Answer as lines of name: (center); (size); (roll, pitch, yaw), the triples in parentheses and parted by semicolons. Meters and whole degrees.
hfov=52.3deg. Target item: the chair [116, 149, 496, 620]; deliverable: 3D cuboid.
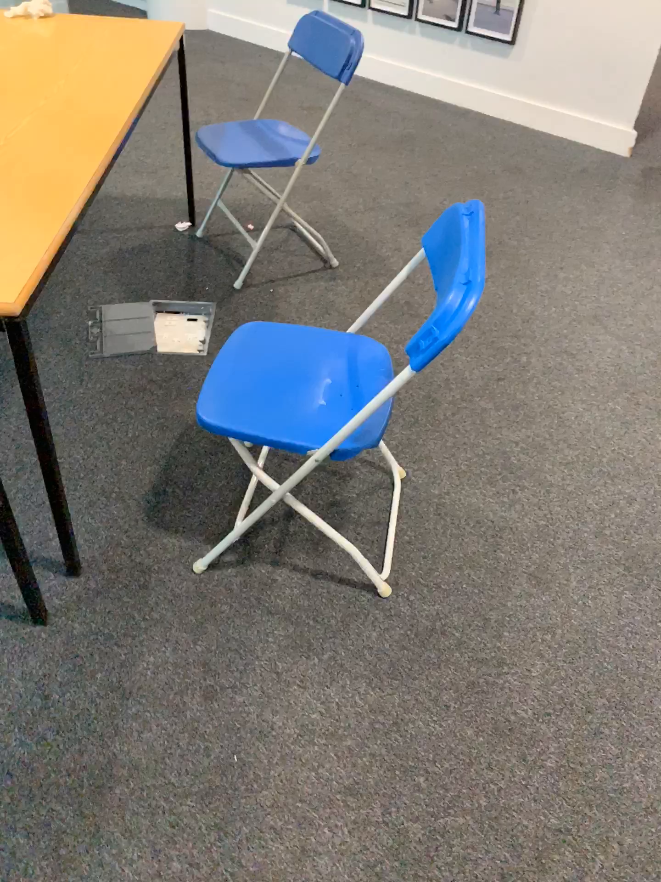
chair: (-0.016, -0.110, 1.389); (0.550, 0.713, 0.535); (9, 42, 5)
